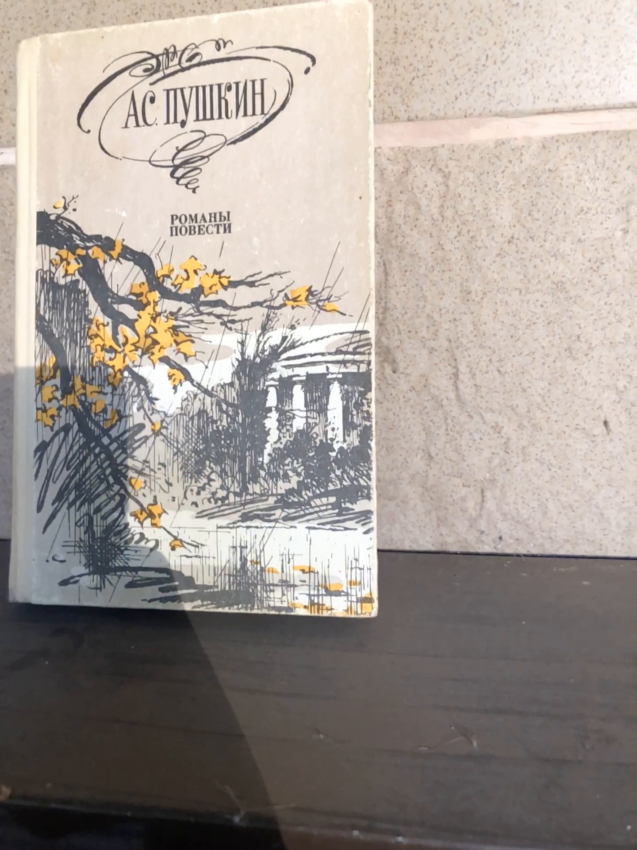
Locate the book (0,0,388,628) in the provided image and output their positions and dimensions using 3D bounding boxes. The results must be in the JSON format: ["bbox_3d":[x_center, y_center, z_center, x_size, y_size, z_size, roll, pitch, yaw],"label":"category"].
[{"bbox_3d":[-0.044,-0.036,0.238,0.130,0.198,0.020,0,2,11],"label":"book"}]
